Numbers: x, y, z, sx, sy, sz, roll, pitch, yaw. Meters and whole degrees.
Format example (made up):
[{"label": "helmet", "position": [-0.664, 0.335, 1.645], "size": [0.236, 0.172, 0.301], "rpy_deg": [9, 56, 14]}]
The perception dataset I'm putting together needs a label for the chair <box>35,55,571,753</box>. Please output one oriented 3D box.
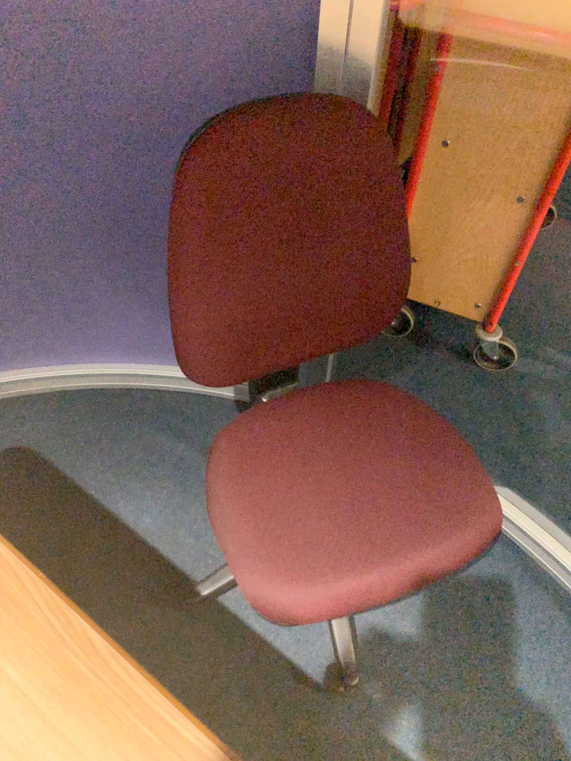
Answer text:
[{"label": "chair", "position": [0.030, 0.012, 1.063], "size": [0.581, 0.773, 0.856], "rpy_deg": [-19, 52, -18]}]
